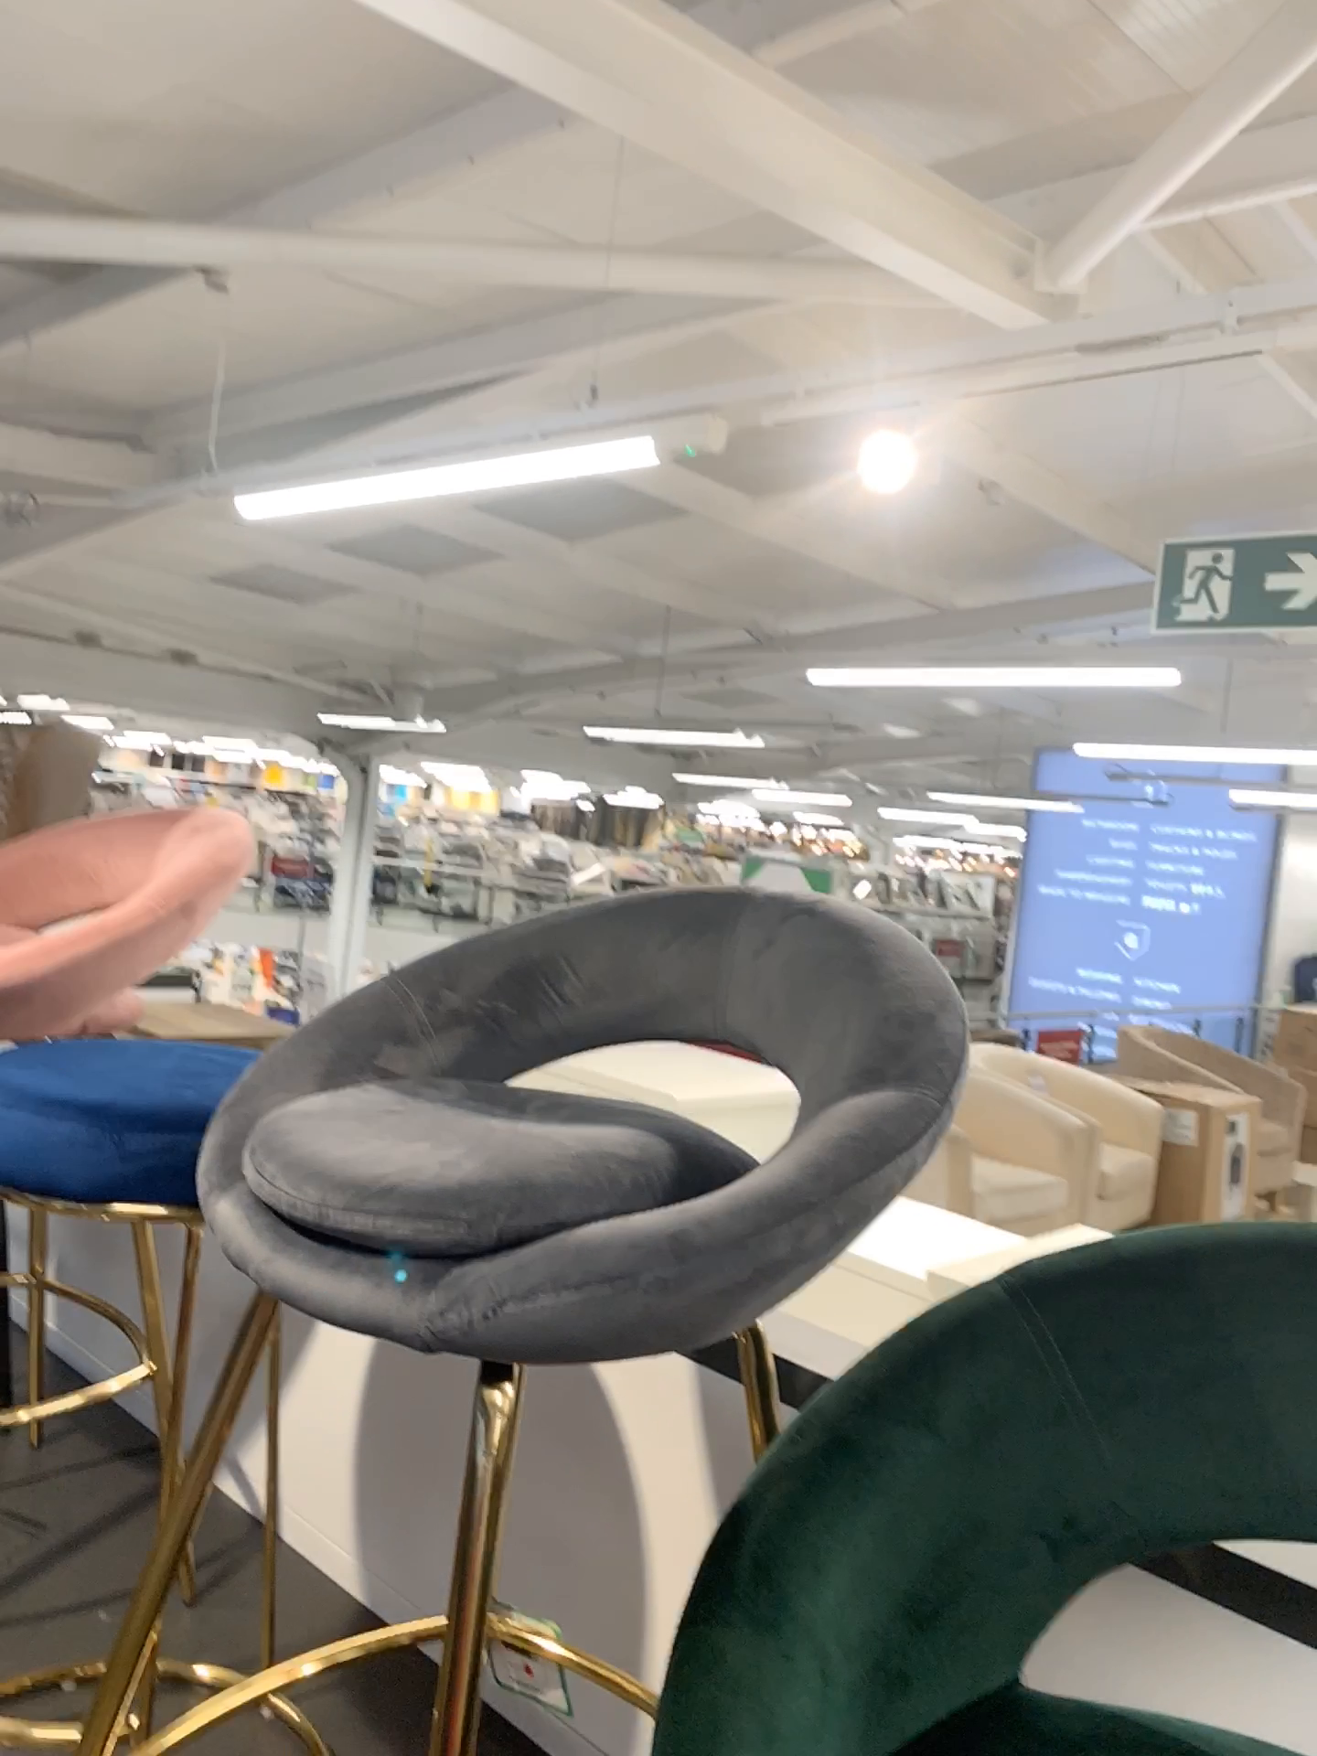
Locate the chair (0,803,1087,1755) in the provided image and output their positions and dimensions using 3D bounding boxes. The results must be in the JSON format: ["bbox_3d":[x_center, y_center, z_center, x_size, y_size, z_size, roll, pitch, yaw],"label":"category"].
[{"bbox_3d":[-0.098,0.424,0.903,0.486,0.874,0.474,7,1,43],"label":"chair"}]
